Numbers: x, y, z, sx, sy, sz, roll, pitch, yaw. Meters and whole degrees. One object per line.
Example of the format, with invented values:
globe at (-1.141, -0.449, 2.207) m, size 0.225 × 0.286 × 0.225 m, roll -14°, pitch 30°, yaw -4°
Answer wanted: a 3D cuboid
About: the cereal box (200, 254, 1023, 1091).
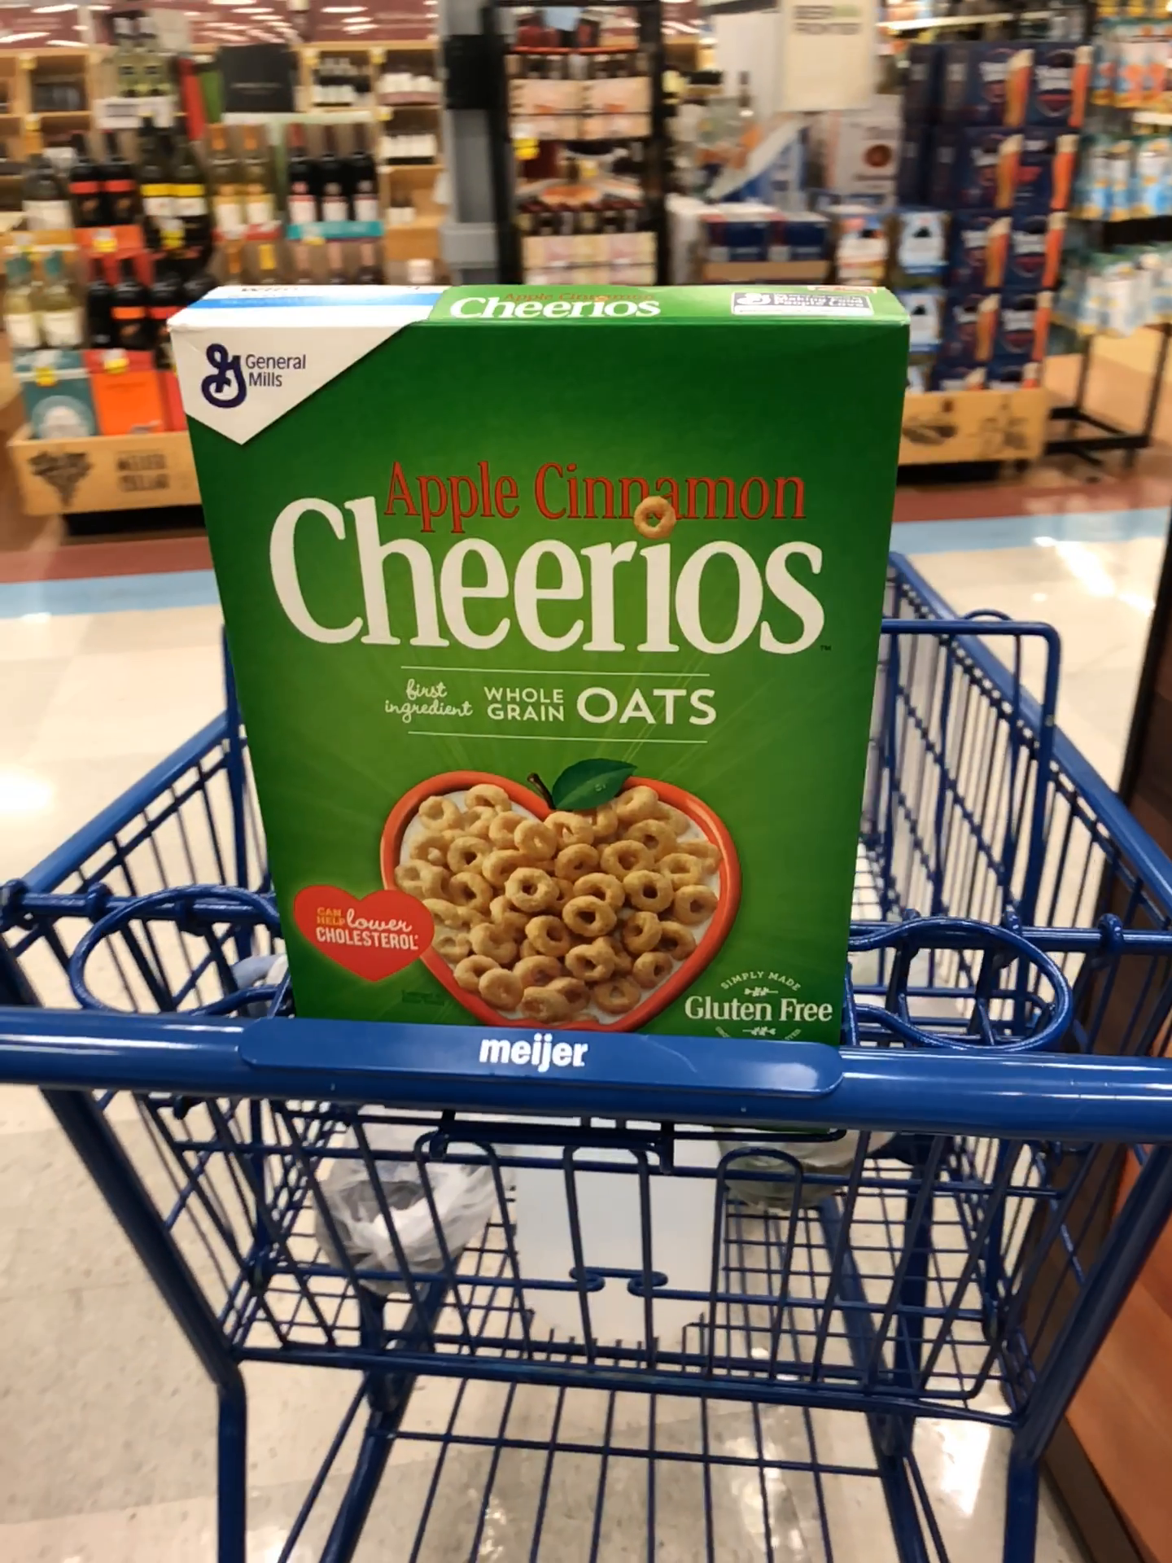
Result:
cereal box at (0.008, -0.022, 0.419) m, size 0.210 × 0.269 × 0.050 m, roll 1°, pitch 30°, yaw 4°
